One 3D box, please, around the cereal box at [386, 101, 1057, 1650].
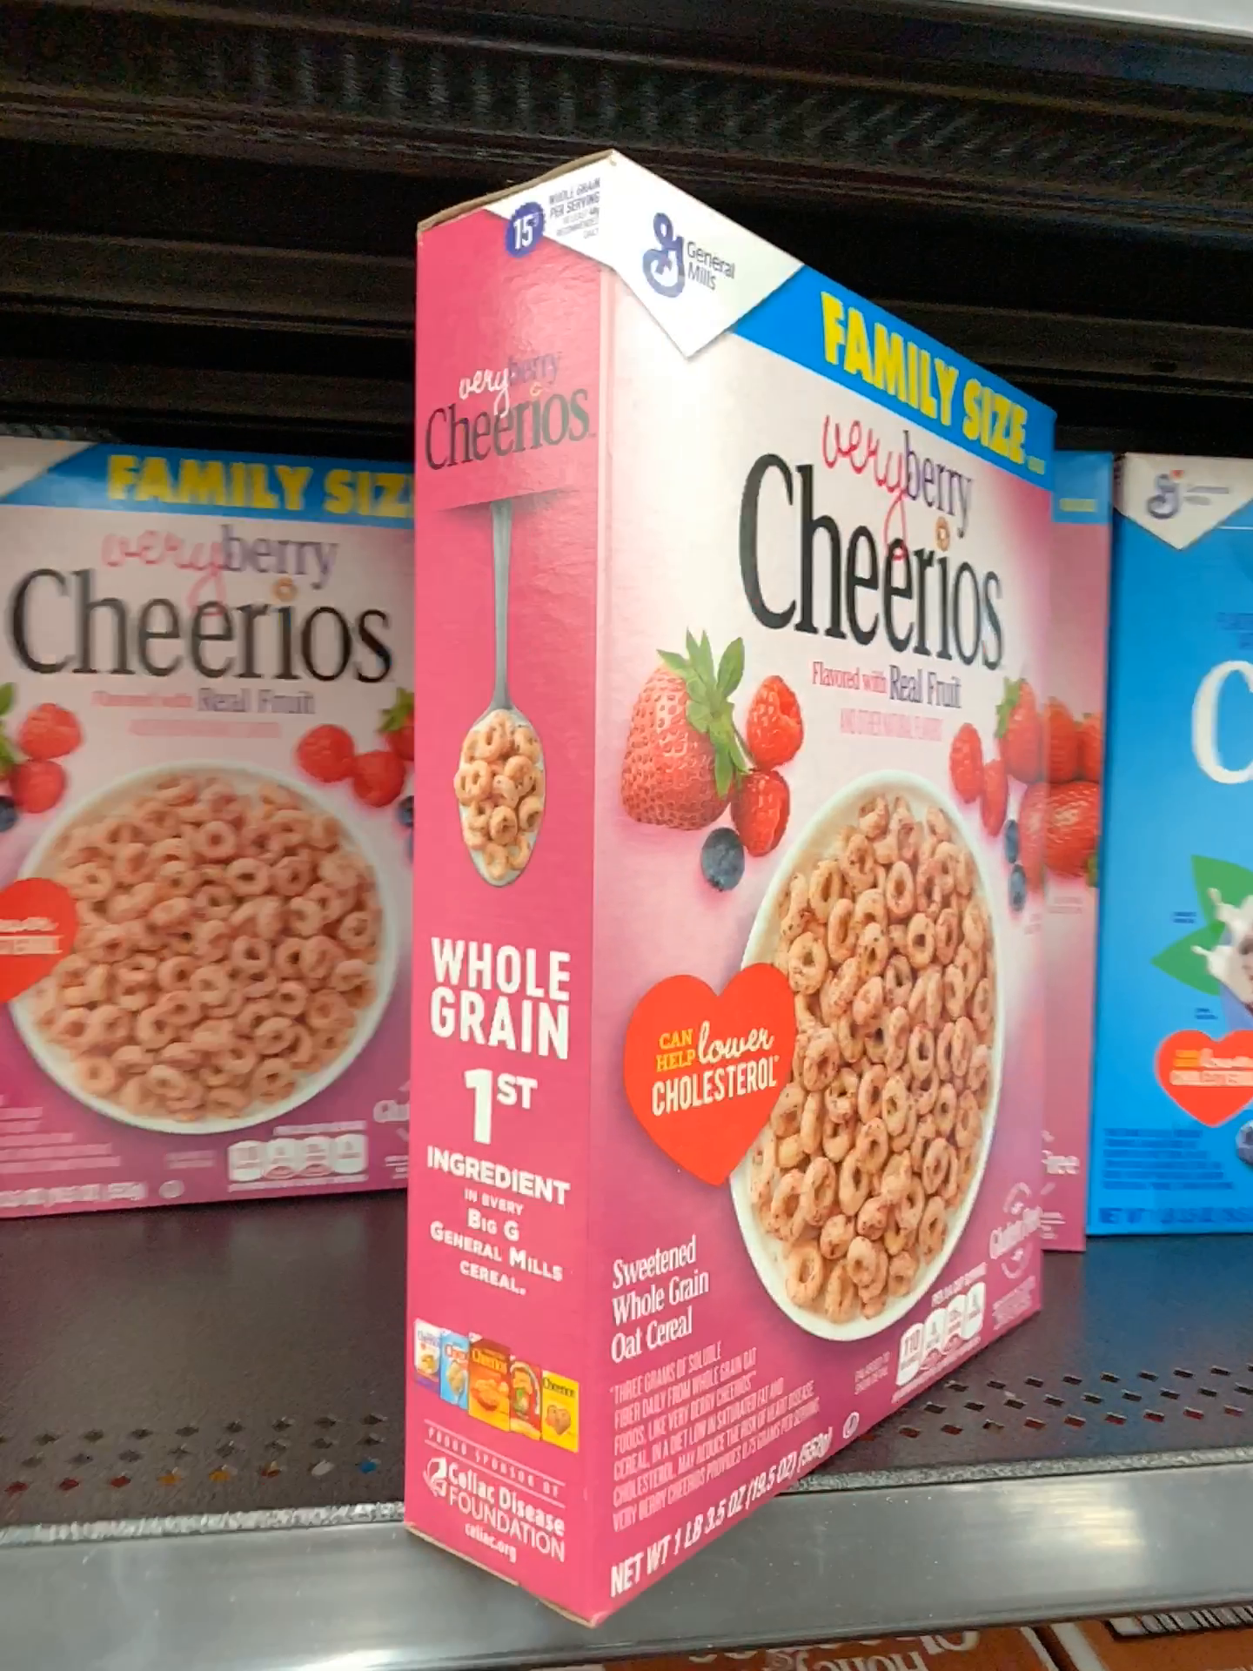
[{"bbox_3d":[0.046,0.007,0.377,0.060,0.320,0.240,1,1,41],"label":"cereal box"}]
